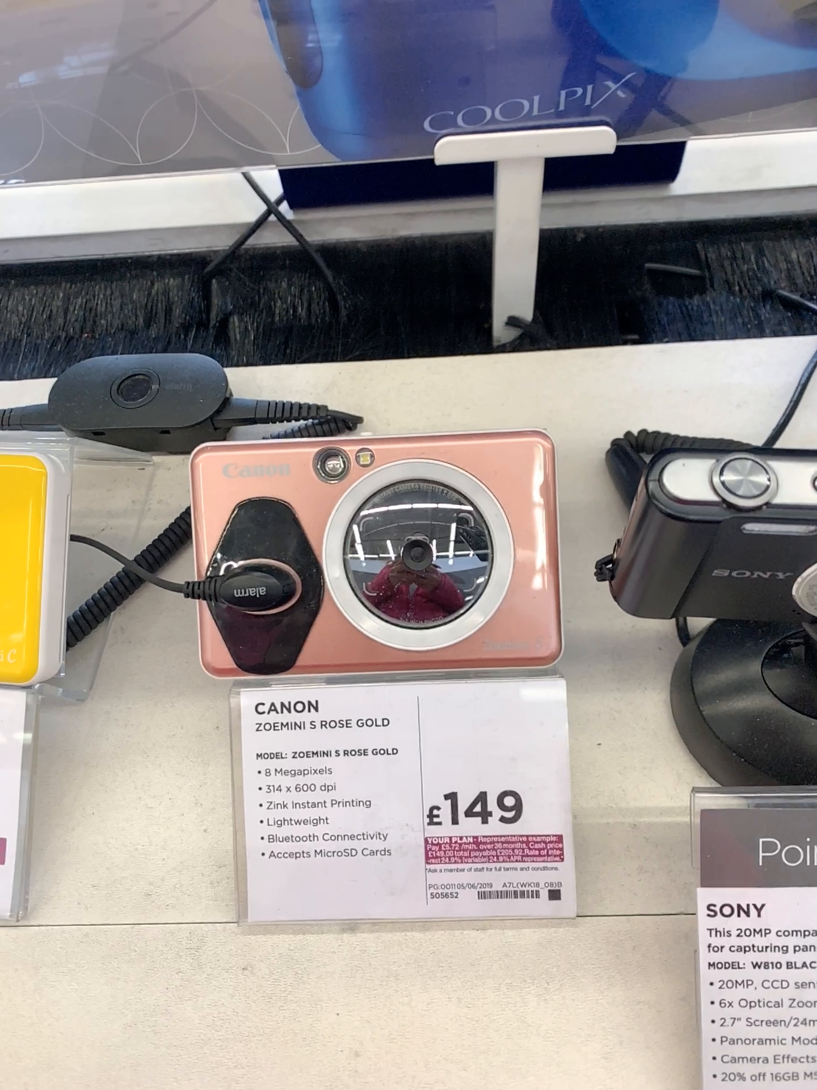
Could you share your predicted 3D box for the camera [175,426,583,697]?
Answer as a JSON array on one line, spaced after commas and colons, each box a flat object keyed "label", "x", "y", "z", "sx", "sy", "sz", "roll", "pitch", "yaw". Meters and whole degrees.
[{"label": "camera", "x": -0.010, "y": 0.006, "z": 0.282, "sx": 0.129, "sy": 0.020, "sz": 0.083, "roll": -2, "pitch": 92, "yaw": 3}]
